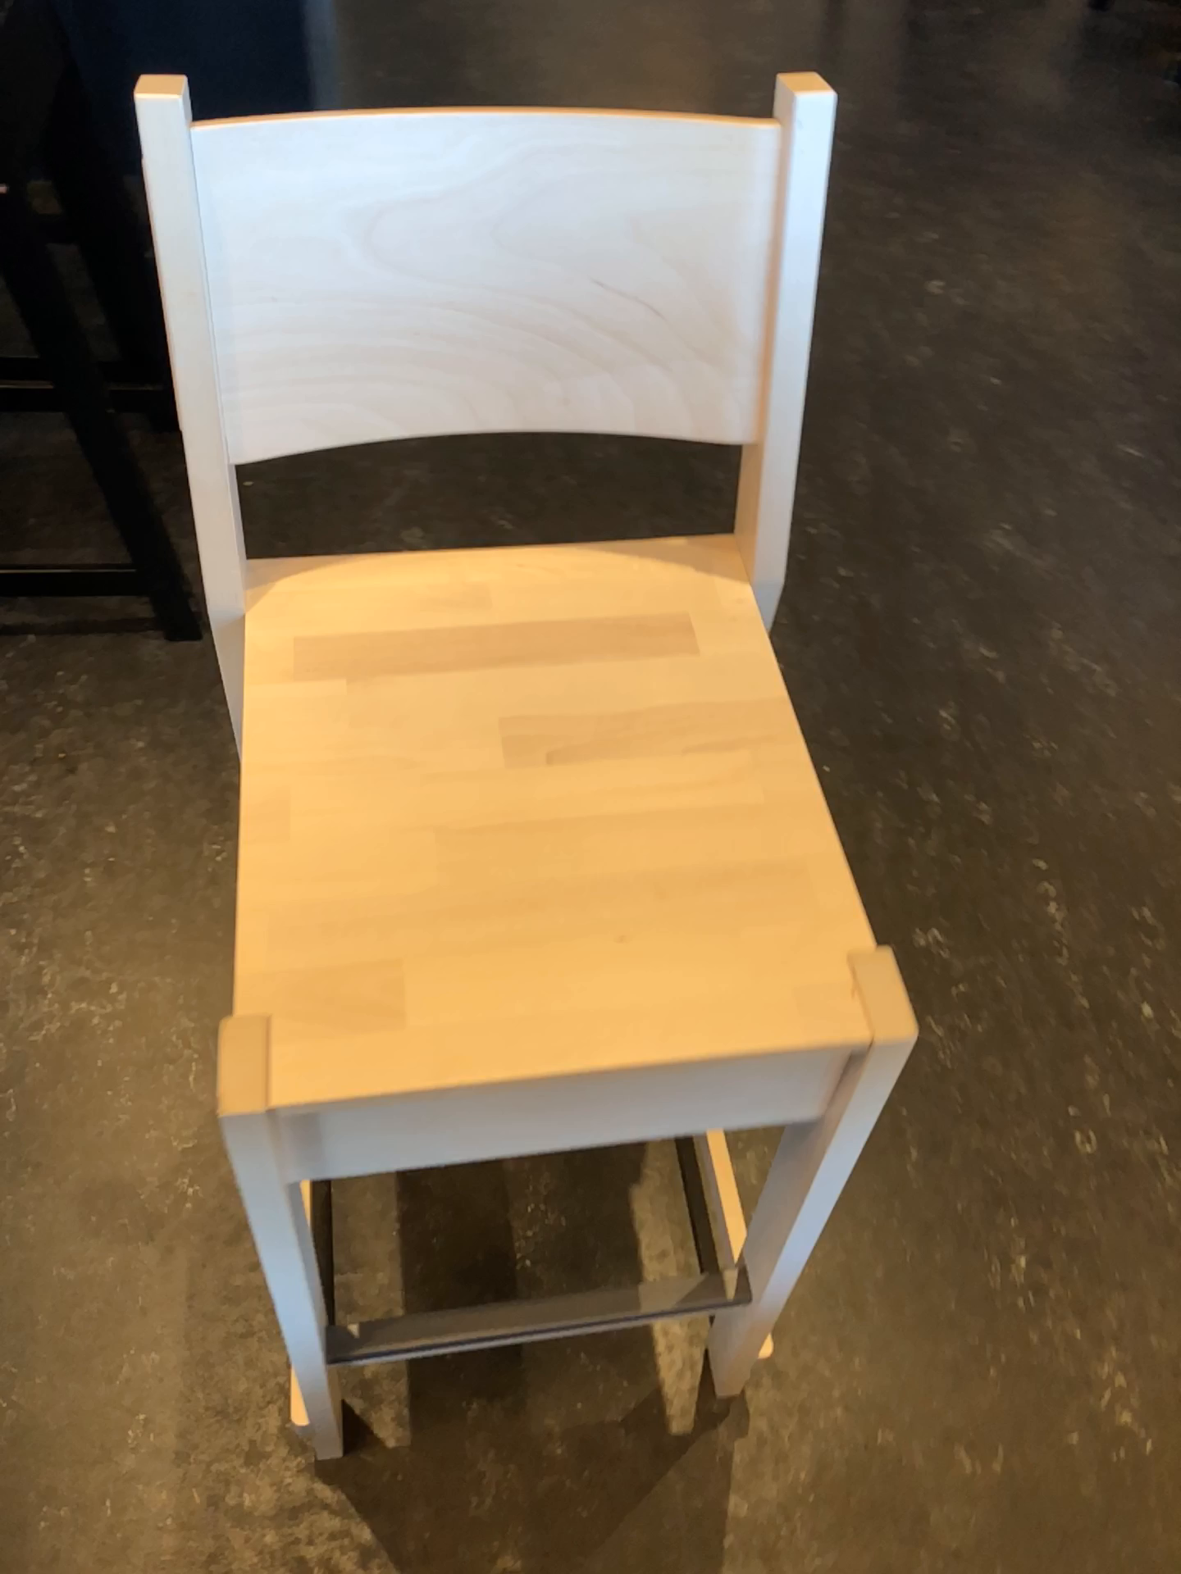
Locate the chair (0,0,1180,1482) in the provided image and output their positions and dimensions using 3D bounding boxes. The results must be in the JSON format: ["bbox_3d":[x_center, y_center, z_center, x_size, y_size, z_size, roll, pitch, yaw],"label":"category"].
[{"bbox_3d":[-0.064,0.052,0.909,0.460,0.977,0.542,-5,52,-8],"label":"chair"}]
